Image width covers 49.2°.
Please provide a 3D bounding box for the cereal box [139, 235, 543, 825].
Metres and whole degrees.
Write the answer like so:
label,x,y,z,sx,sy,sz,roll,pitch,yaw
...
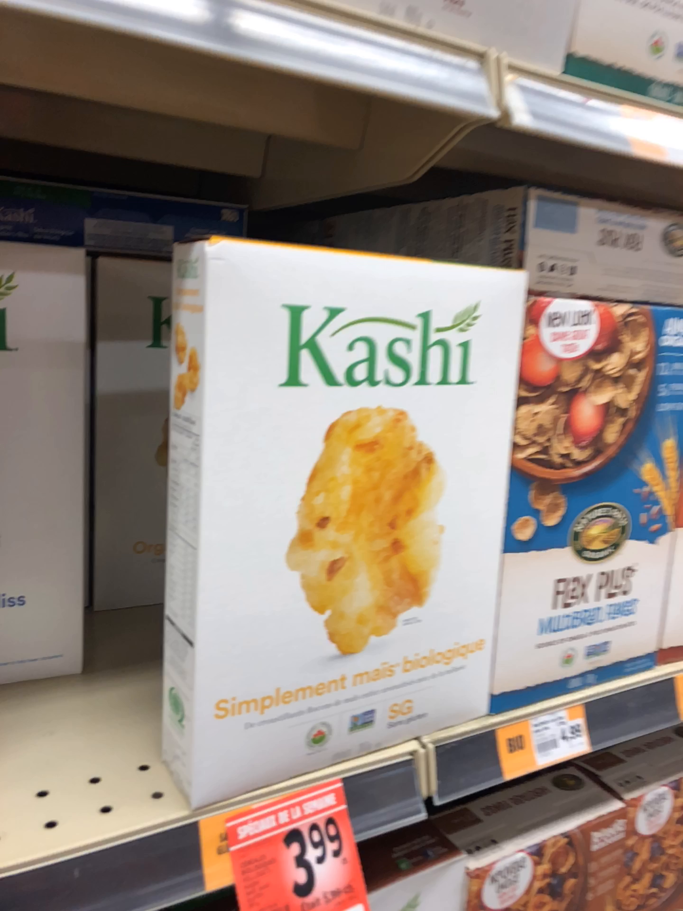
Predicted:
label,x,y,z,sx,sy,sz,roll,pitch,yaw
cereal box,0.001,0.031,0.405,0.200,0.269,0.060,-3,13,-32
